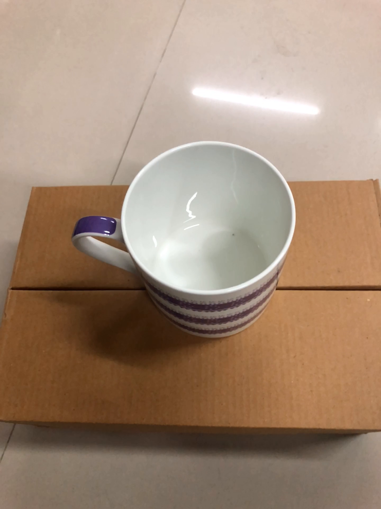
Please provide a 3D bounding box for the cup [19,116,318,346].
[{"bbox_3d":[-0.006,-0.007,0.230,0.120,0.090,0.090,0,66,5],"label":"cup"}]
